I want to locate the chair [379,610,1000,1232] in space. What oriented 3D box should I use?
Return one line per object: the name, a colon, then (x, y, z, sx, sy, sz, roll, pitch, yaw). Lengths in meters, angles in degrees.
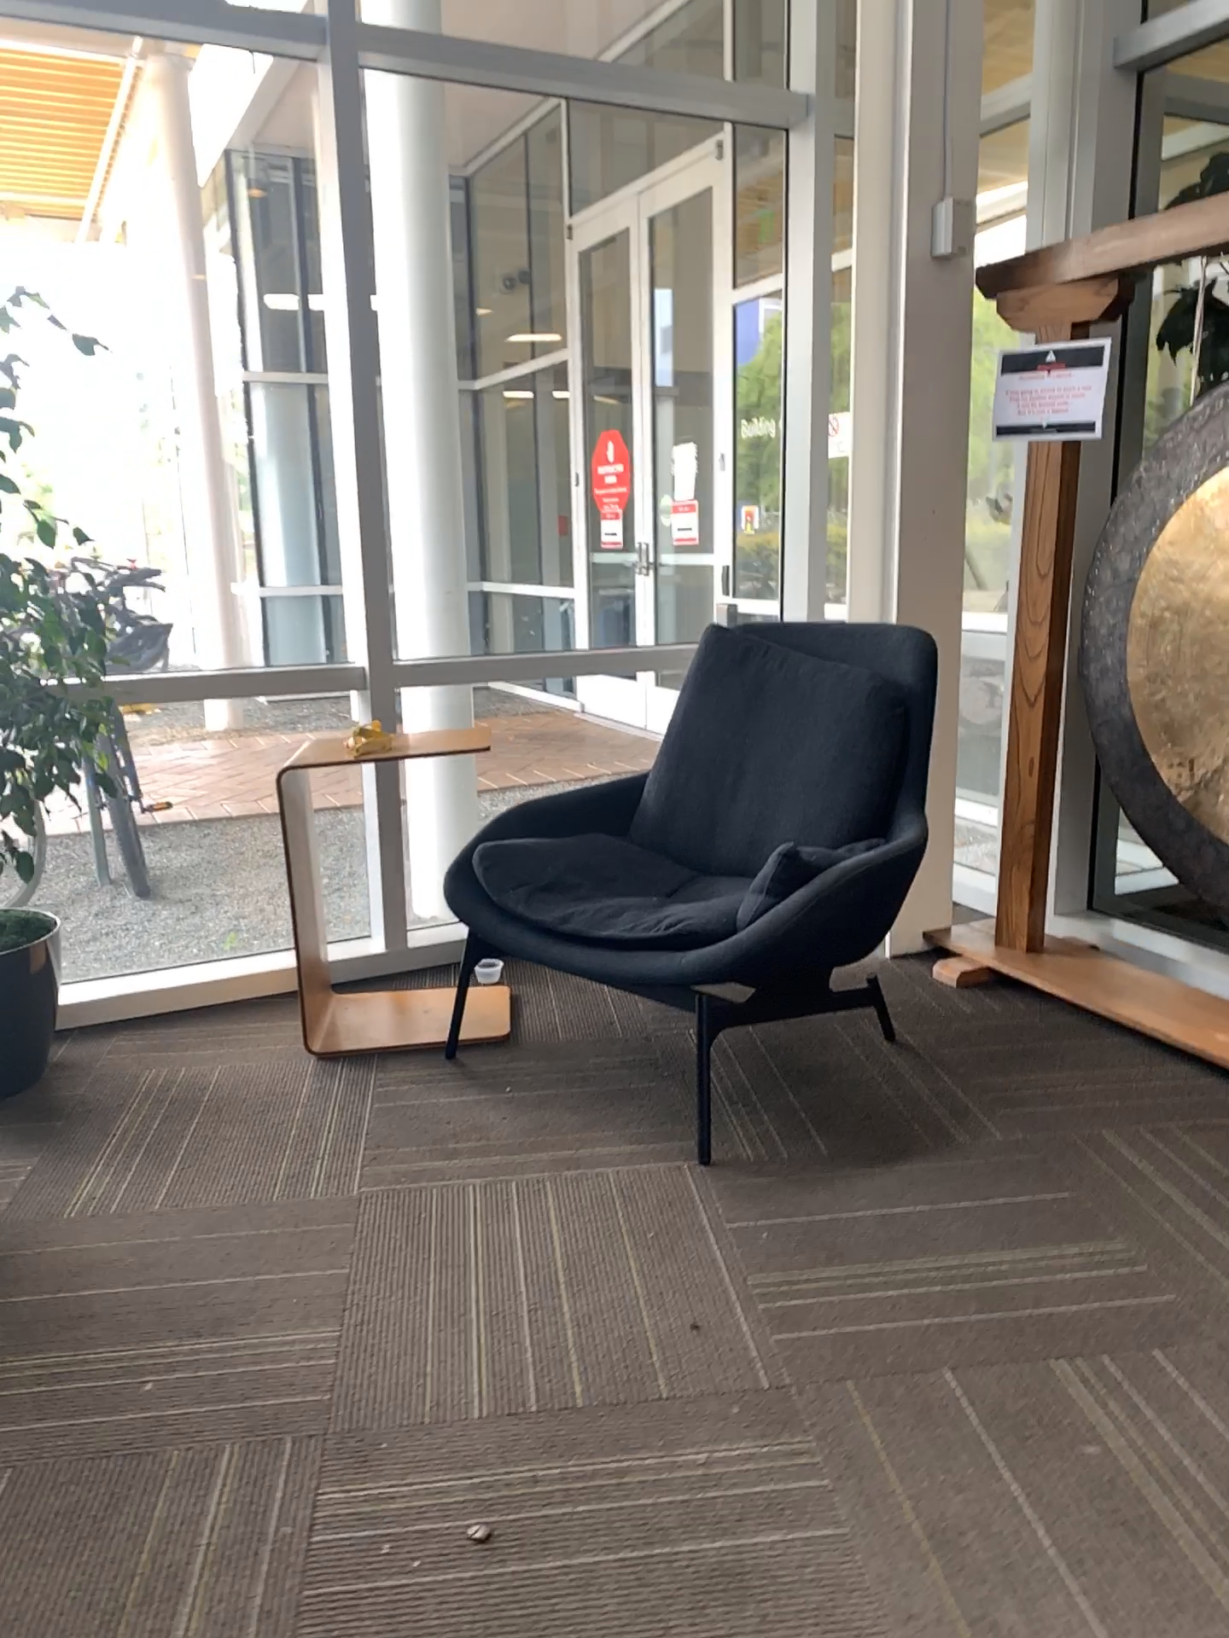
chair: (0.176, 0.087, 2.698, 0.902, 0.997, 0.941, 9, 16, 41)
